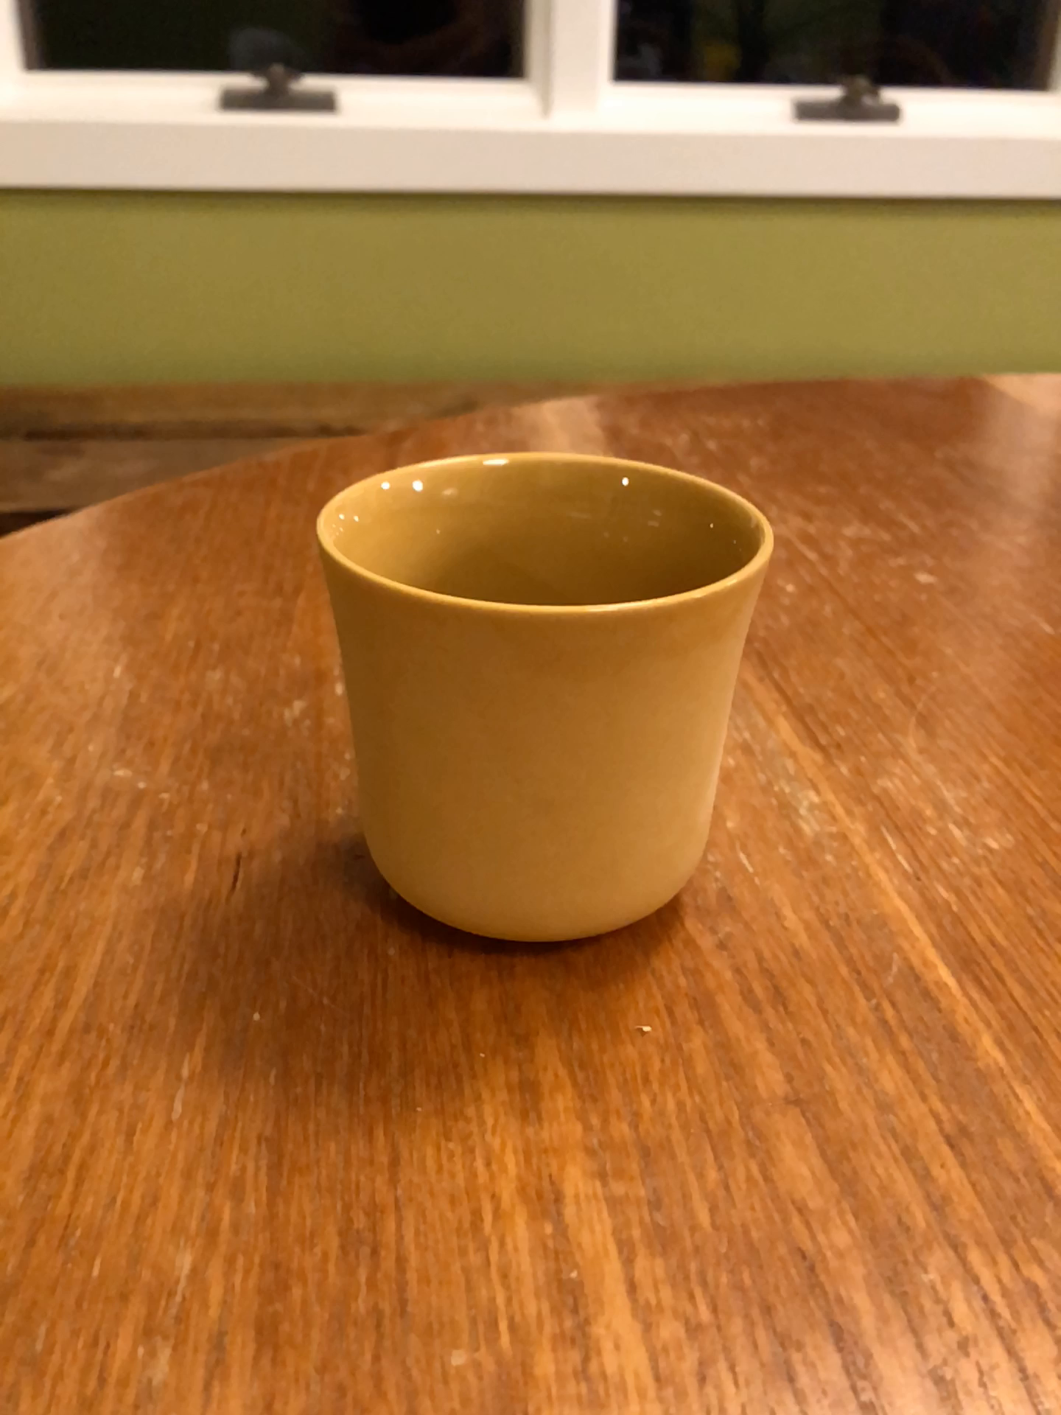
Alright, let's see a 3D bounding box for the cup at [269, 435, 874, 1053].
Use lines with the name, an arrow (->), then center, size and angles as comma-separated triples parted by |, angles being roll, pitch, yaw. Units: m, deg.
cup -> 0.003, 0.000, 0.218 | 0.078, 0.073, 0.074 | 1, 28, 0
